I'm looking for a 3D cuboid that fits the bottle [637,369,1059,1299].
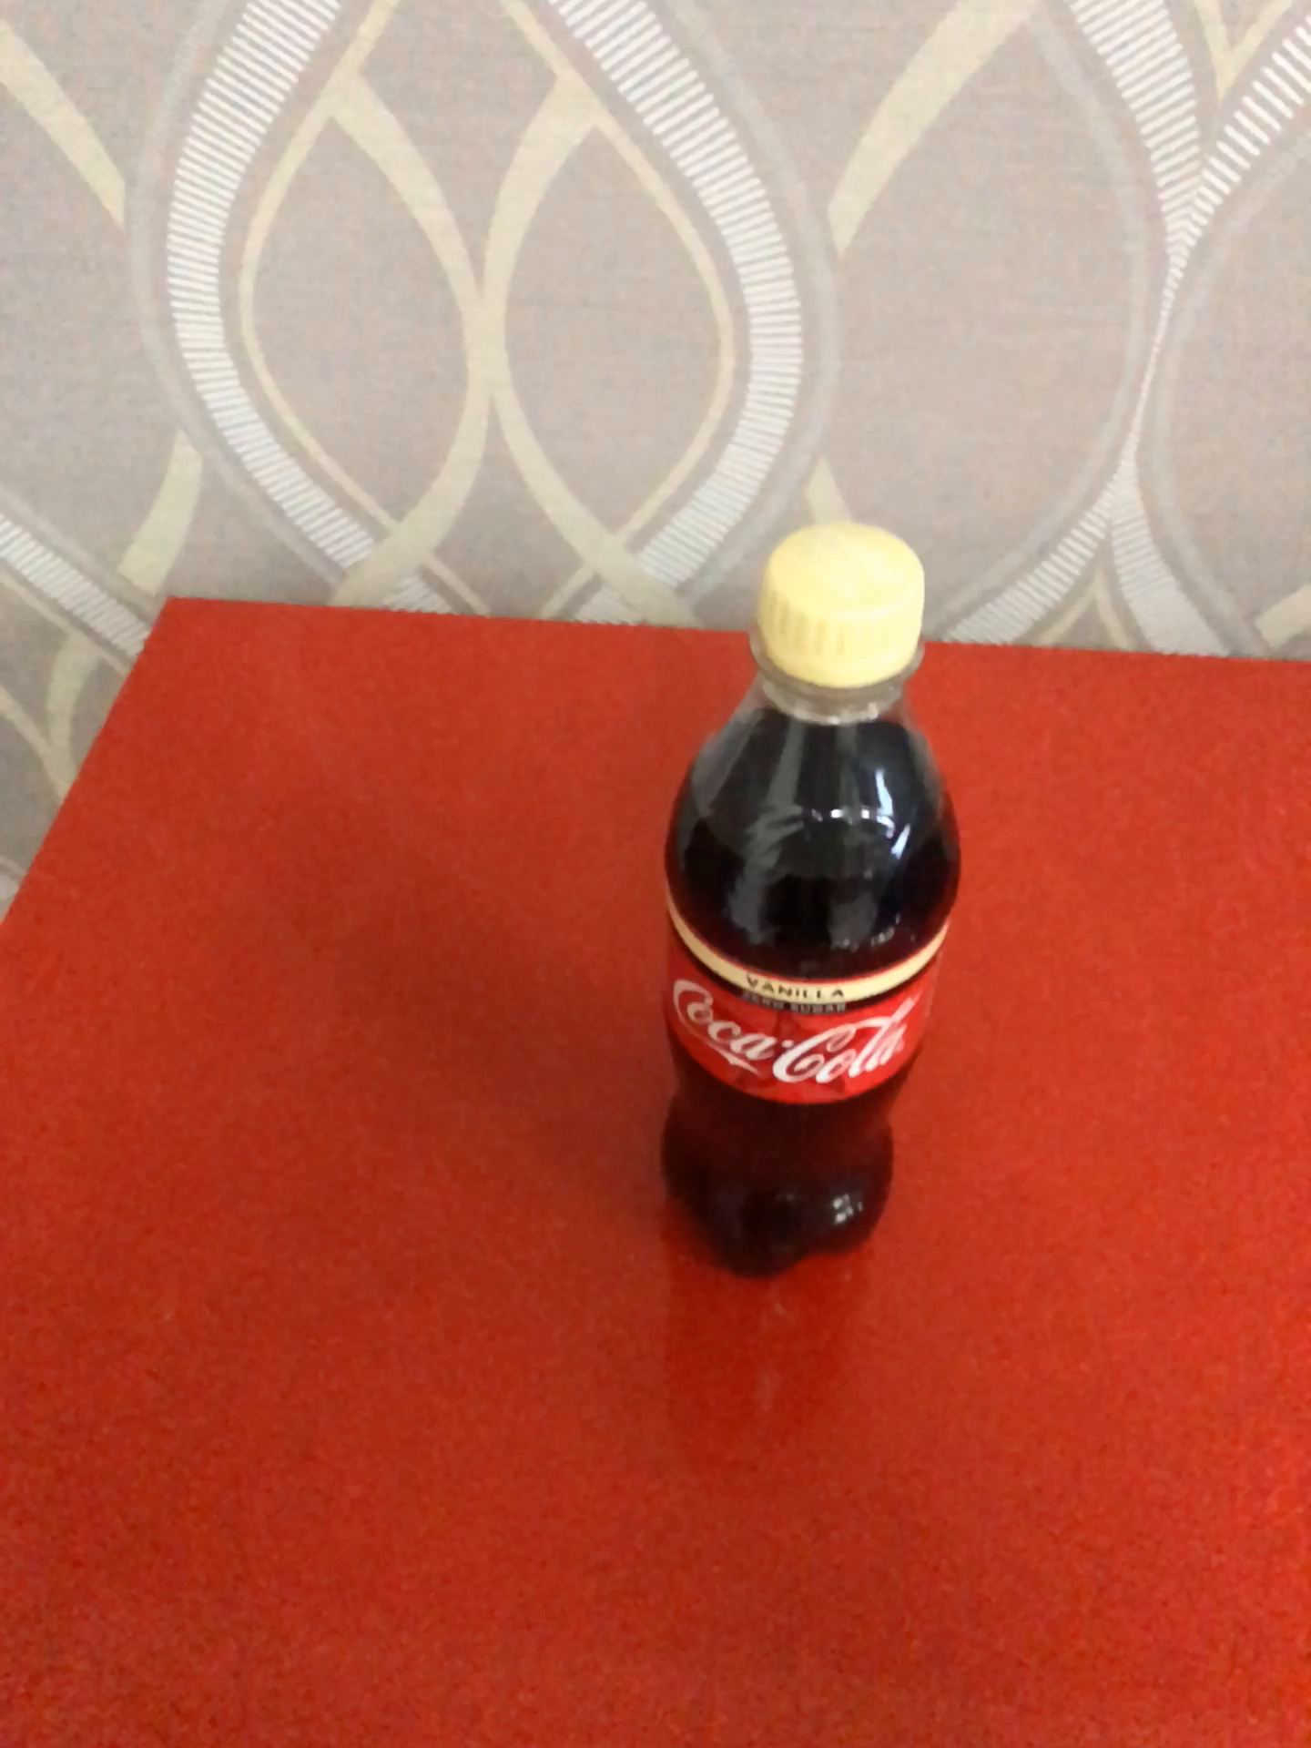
[{"bbox_3d":[0.038,0.009,0.357,0.070,0.238,0.081,6,48,6],"label":"bottle"}]
